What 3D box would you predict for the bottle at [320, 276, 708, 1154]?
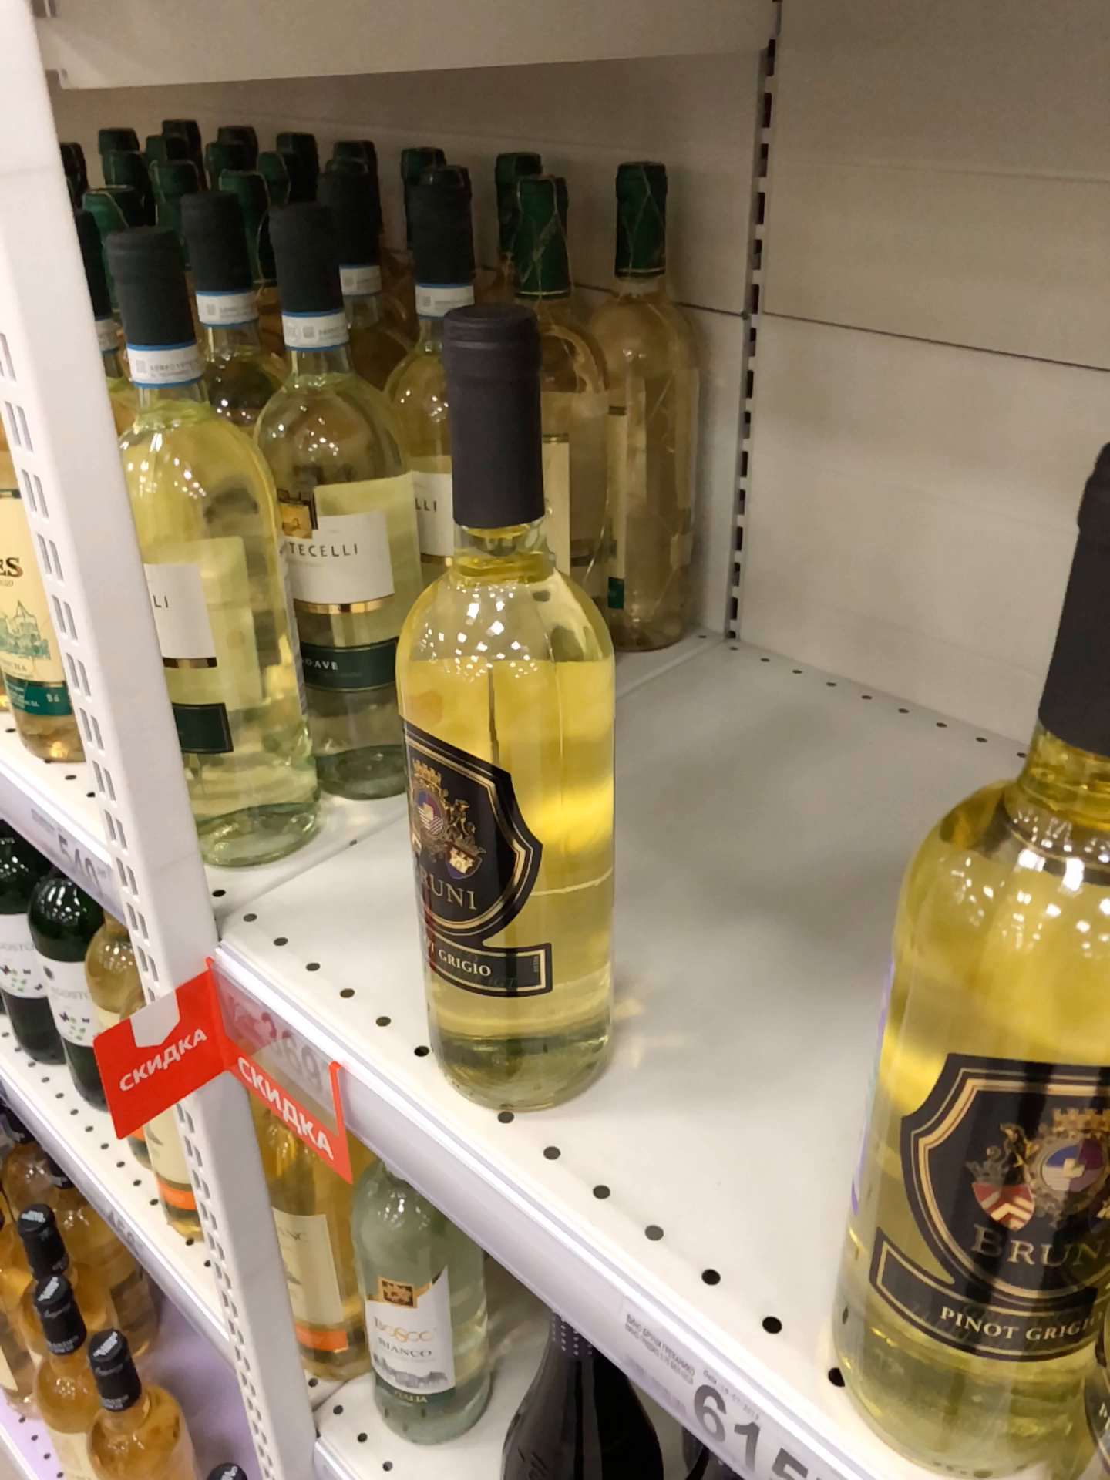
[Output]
[{"bbox_3d":[-0.010,0.000,0.429,0.080,0.288,0.080,-1,30,0],"label":"bottle"}]
